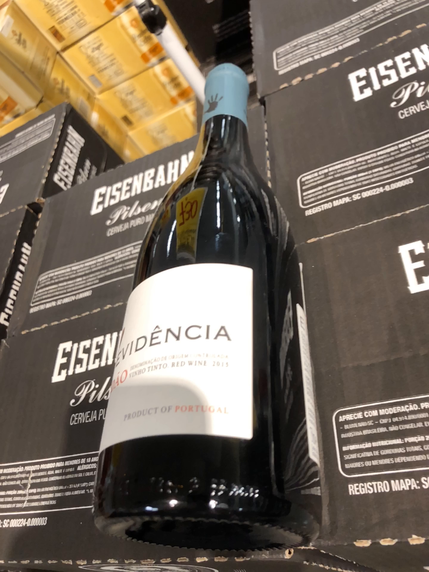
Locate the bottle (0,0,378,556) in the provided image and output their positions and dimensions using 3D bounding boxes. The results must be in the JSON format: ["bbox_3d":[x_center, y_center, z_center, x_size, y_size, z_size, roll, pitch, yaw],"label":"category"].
[{"bbox_3d":[-0.003,-0.049,0.256,0.100,0.089,0.331,-16,53,24],"label":"bottle"}]
